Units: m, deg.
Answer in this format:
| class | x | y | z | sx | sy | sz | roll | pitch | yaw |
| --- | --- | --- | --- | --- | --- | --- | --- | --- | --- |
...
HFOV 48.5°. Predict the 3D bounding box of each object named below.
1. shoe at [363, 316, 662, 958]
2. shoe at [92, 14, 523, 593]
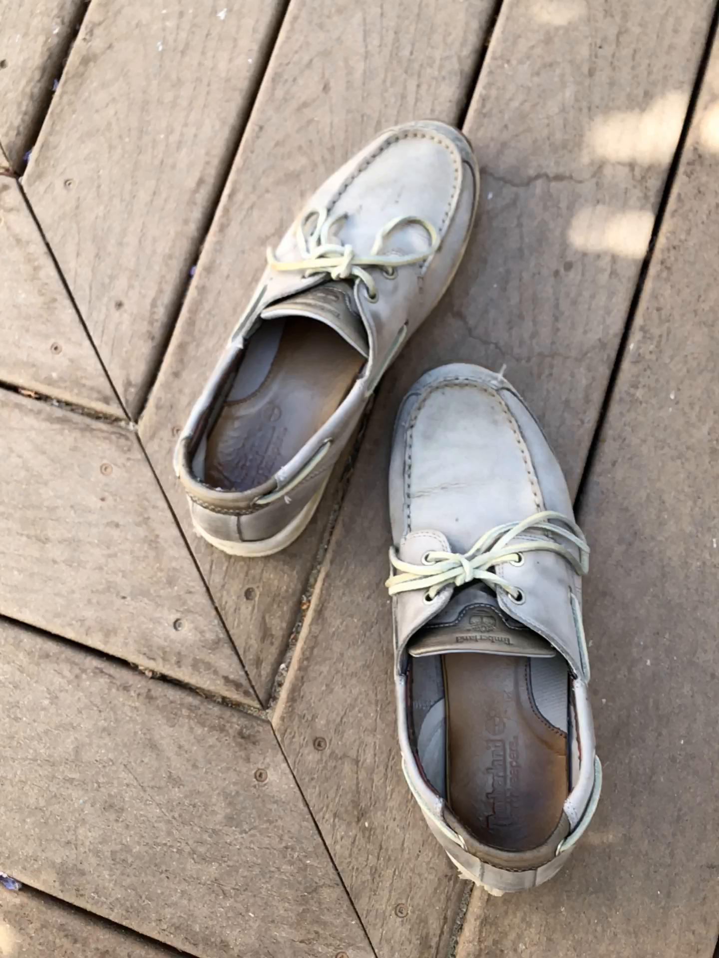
| class | x | y | z | sx | sy | sz | roll | pitch | yaw |
| --- | --- | --- | --- | --- | --- | --- | --- | --- | --- |
| shoe | 0.075 | 0.080 | 0.451 | 0.120 | 0.109 | 0.310 | -4 | 79 | 5 |
| shoe | -0.021 | -0.100 | 0.489 | 0.116 | 0.099 | 0.314 | 24 | 83 | 9 |
